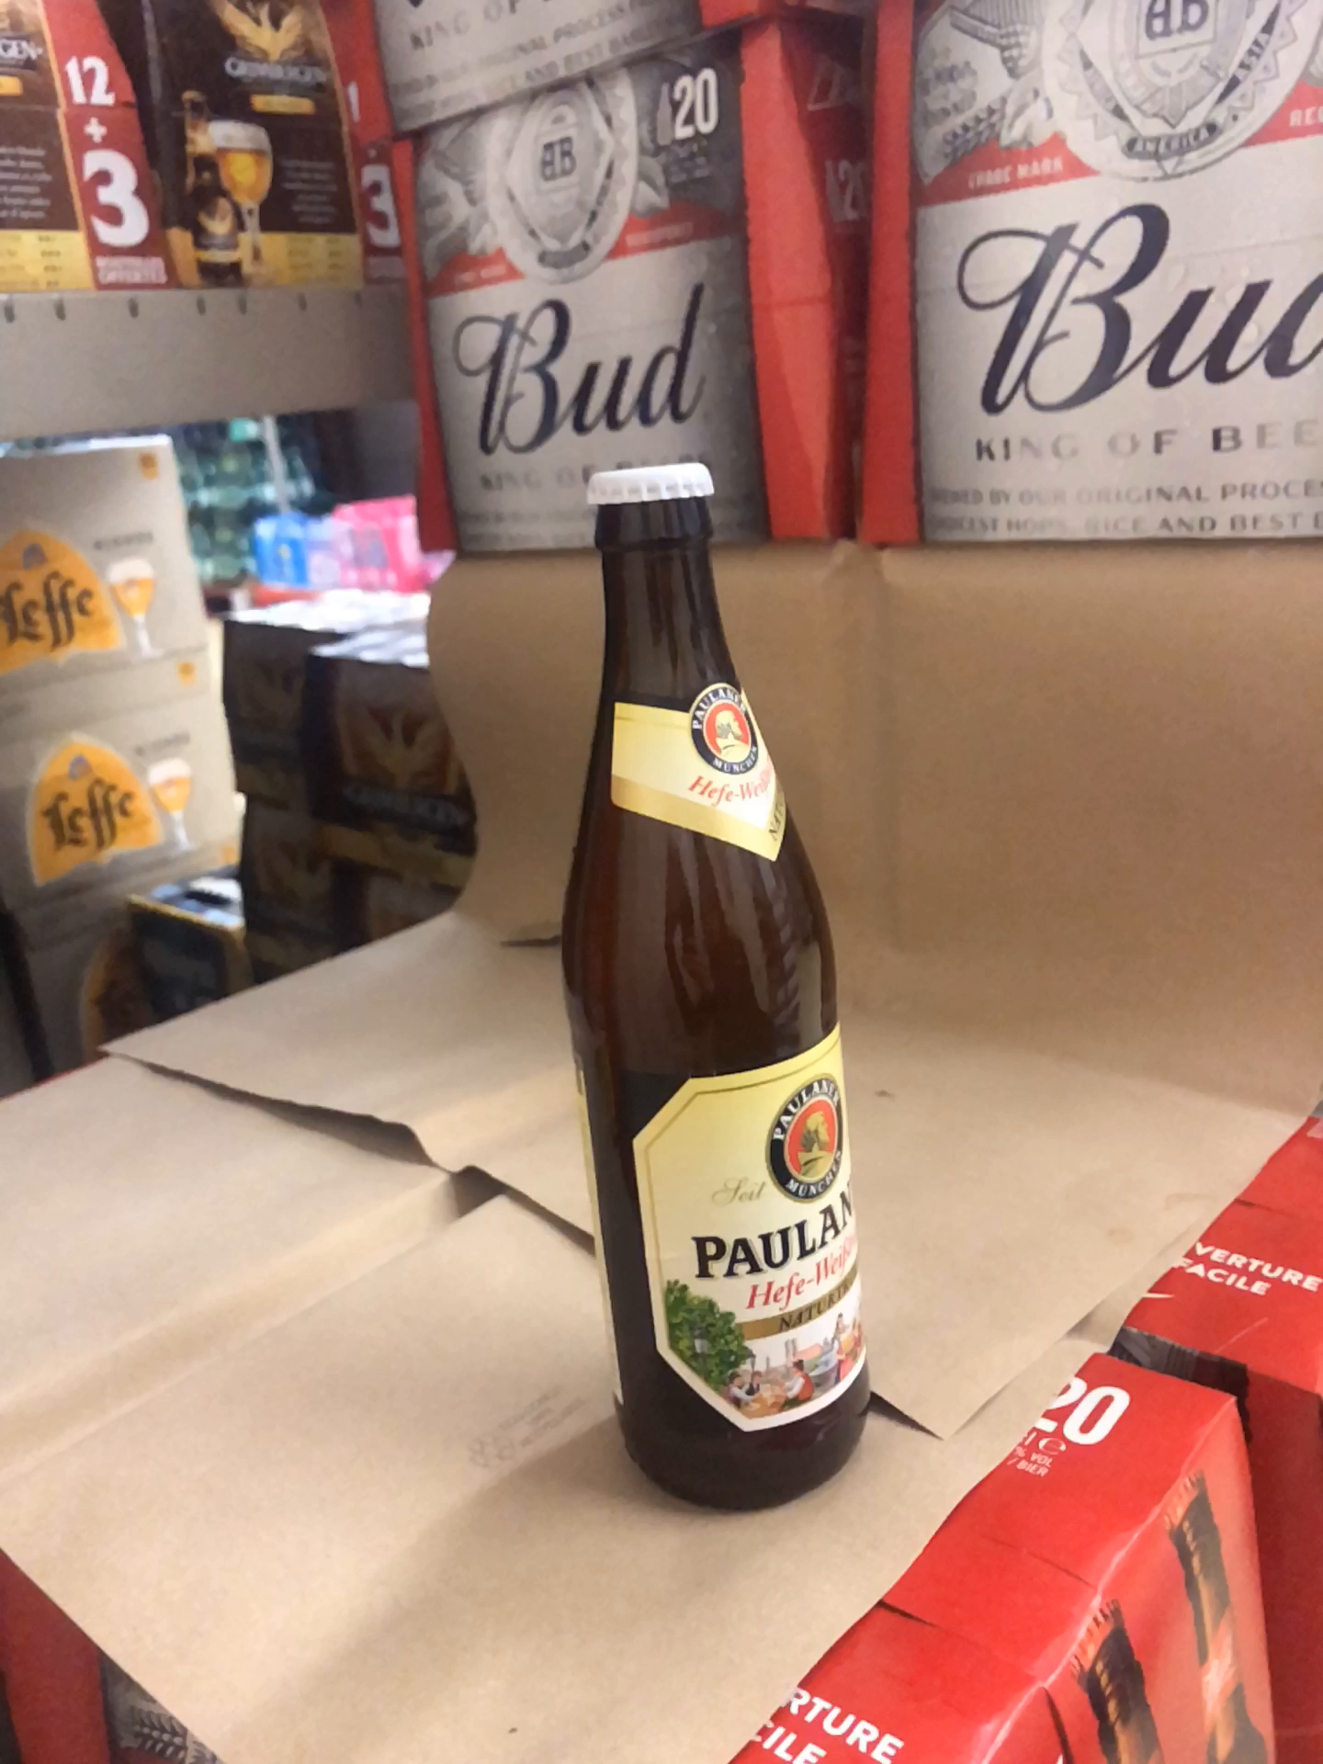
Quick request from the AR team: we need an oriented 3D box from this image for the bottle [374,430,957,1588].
[{"bbox_3d":[0.006,0.025,0.341,0.080,0.239,0.080,-6,18,2],"label":"bottle"}]
